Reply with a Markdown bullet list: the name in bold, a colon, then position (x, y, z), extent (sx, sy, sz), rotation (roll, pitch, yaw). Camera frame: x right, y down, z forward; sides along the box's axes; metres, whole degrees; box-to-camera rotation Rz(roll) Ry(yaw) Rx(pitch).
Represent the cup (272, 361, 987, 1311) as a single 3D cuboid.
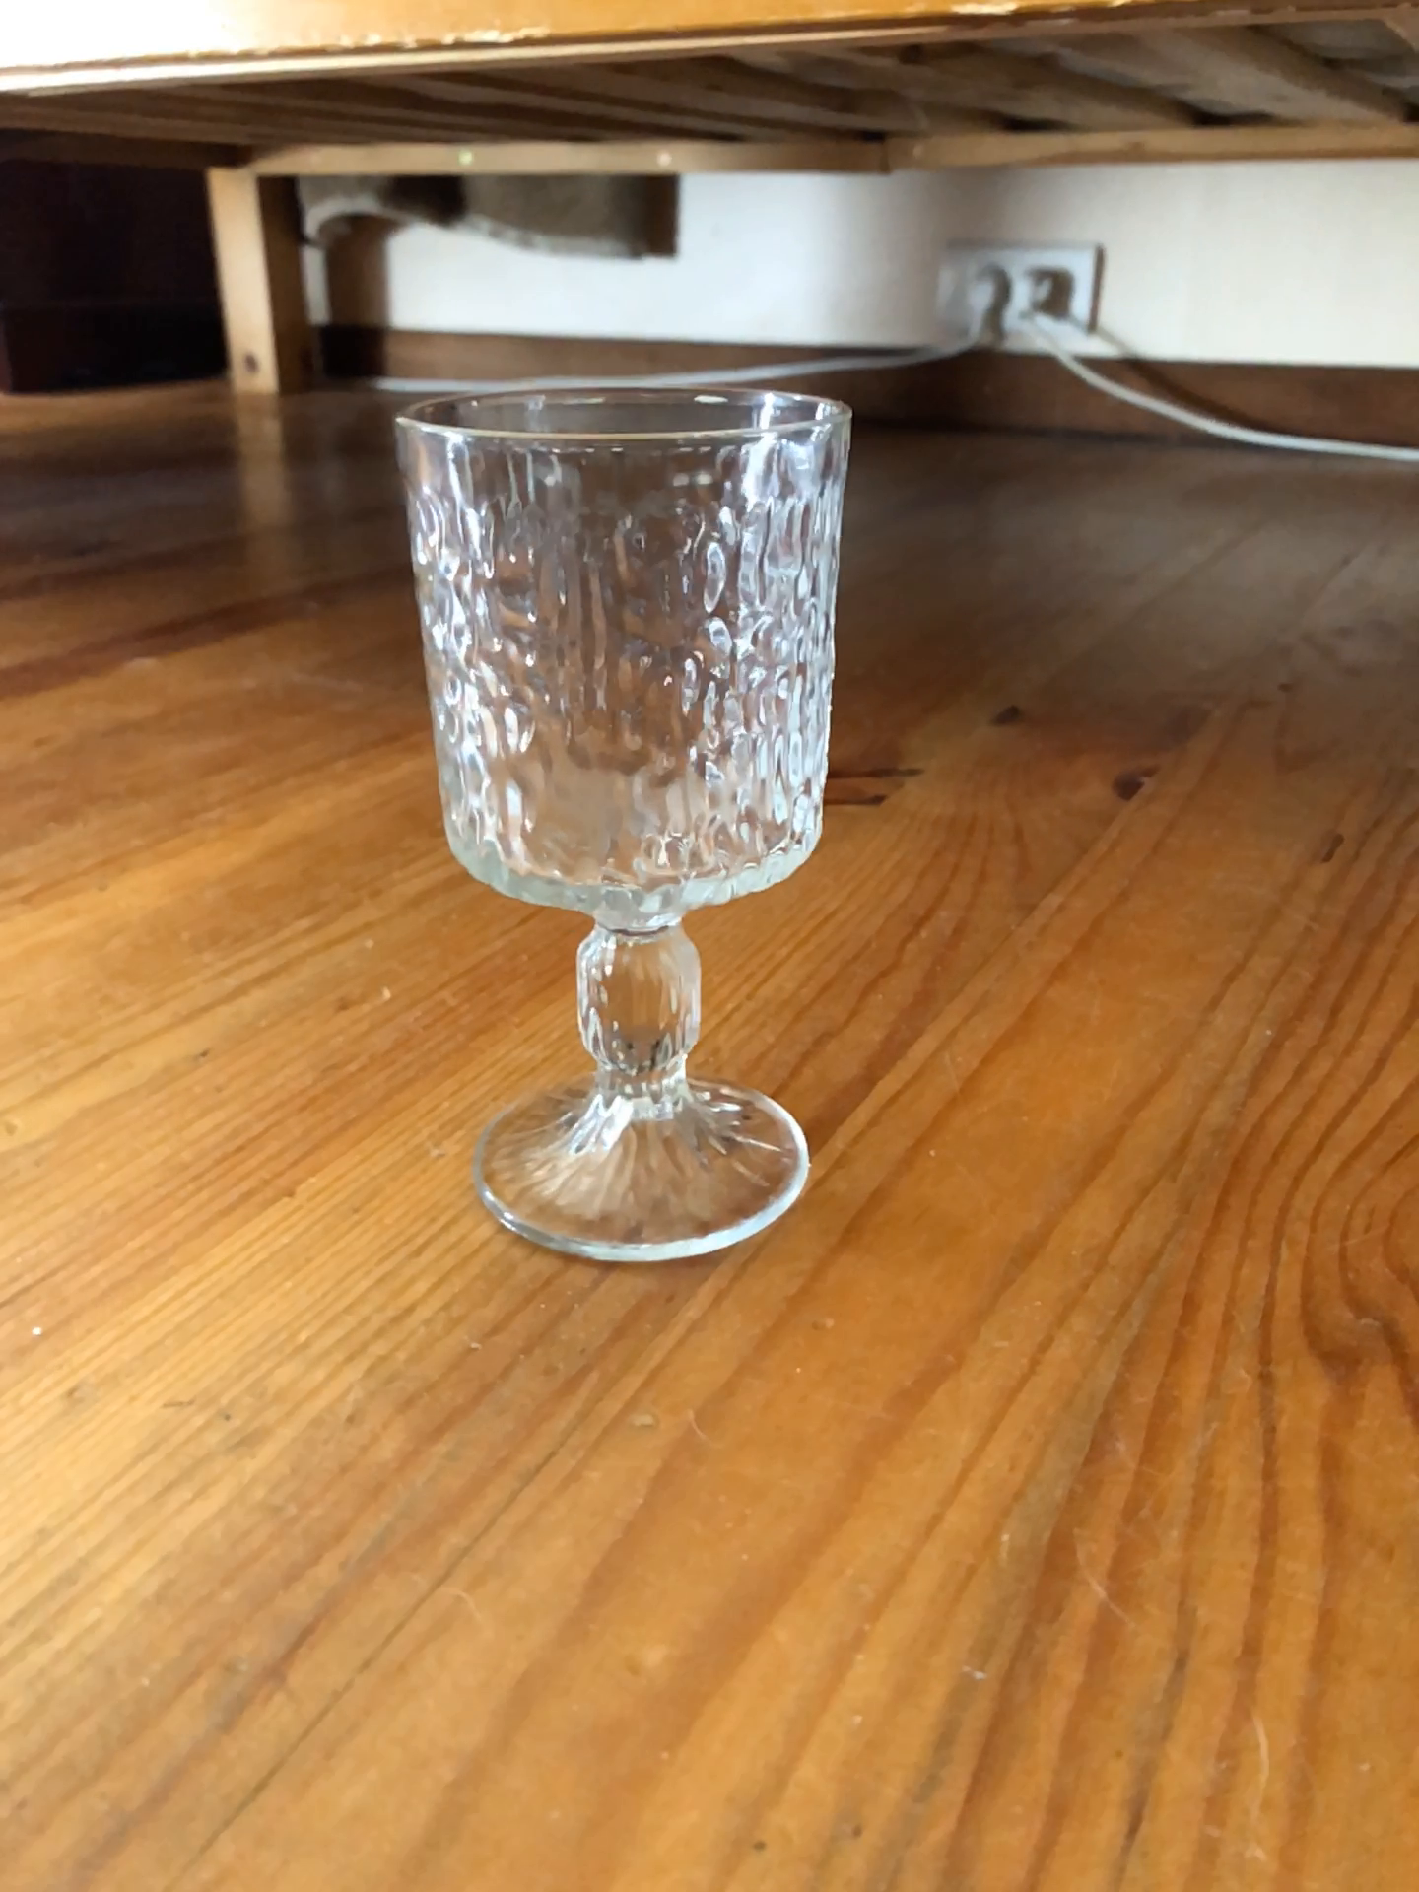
- **cup**: position (-0.009, -0.026, 0.272), extent (0.081, 0.134, 0.081), rotation (0, 23, 0)
